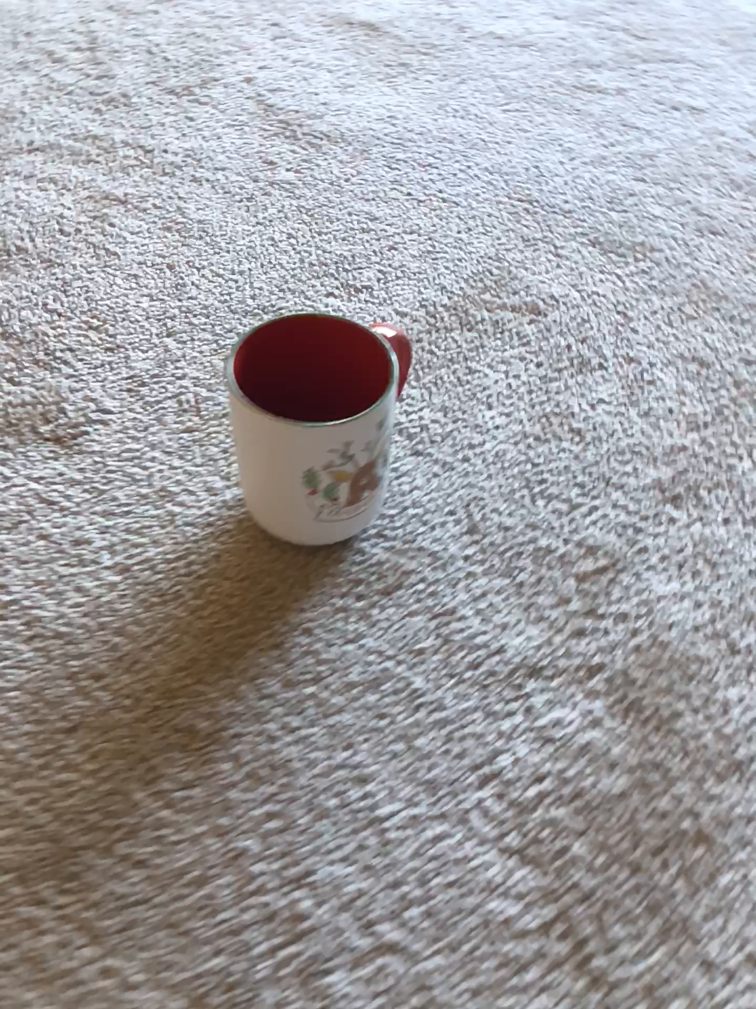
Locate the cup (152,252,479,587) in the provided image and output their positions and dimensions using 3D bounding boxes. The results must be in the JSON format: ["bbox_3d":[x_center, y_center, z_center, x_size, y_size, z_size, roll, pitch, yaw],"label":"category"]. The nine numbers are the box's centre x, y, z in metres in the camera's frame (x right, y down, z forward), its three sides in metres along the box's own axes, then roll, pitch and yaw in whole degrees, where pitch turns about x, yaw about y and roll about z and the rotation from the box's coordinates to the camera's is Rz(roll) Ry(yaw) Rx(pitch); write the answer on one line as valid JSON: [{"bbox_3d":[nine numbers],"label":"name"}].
[{"bbox_3d":[-0.030,-0.051,0.466,0.100,0.090,0.140,33,57,23],"label":"cup"}]
